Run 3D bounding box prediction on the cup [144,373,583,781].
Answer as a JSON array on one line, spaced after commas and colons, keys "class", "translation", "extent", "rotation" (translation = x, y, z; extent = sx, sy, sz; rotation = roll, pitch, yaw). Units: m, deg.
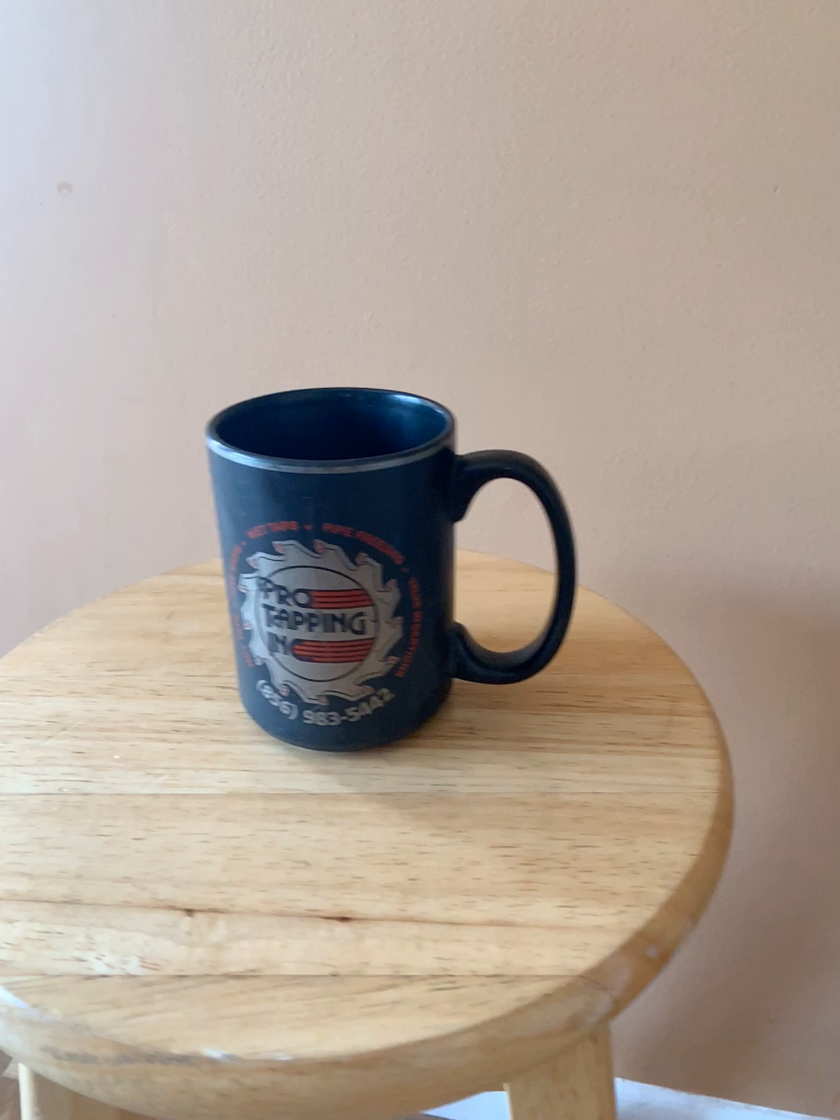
[{"class": "cup", "translation": [-0.014, 0.000, 0.349], "extent": [0.140, 0.119, 0.111], "rotation": [3, 25, 5]}]
